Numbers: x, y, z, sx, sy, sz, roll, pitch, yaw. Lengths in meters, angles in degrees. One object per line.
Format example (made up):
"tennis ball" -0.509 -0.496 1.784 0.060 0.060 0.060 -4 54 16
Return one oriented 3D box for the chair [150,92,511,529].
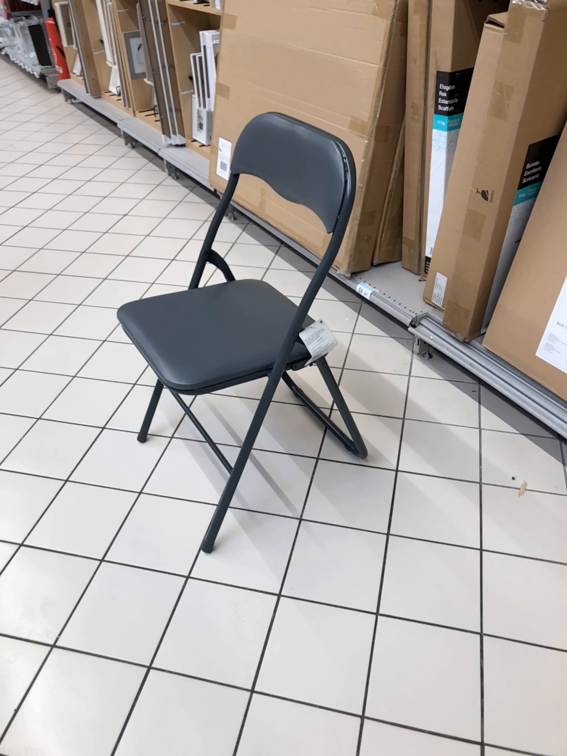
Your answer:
"chair" 0.067 -0.180 1.463 0.502 0.755 0.552 -19 41 -23
